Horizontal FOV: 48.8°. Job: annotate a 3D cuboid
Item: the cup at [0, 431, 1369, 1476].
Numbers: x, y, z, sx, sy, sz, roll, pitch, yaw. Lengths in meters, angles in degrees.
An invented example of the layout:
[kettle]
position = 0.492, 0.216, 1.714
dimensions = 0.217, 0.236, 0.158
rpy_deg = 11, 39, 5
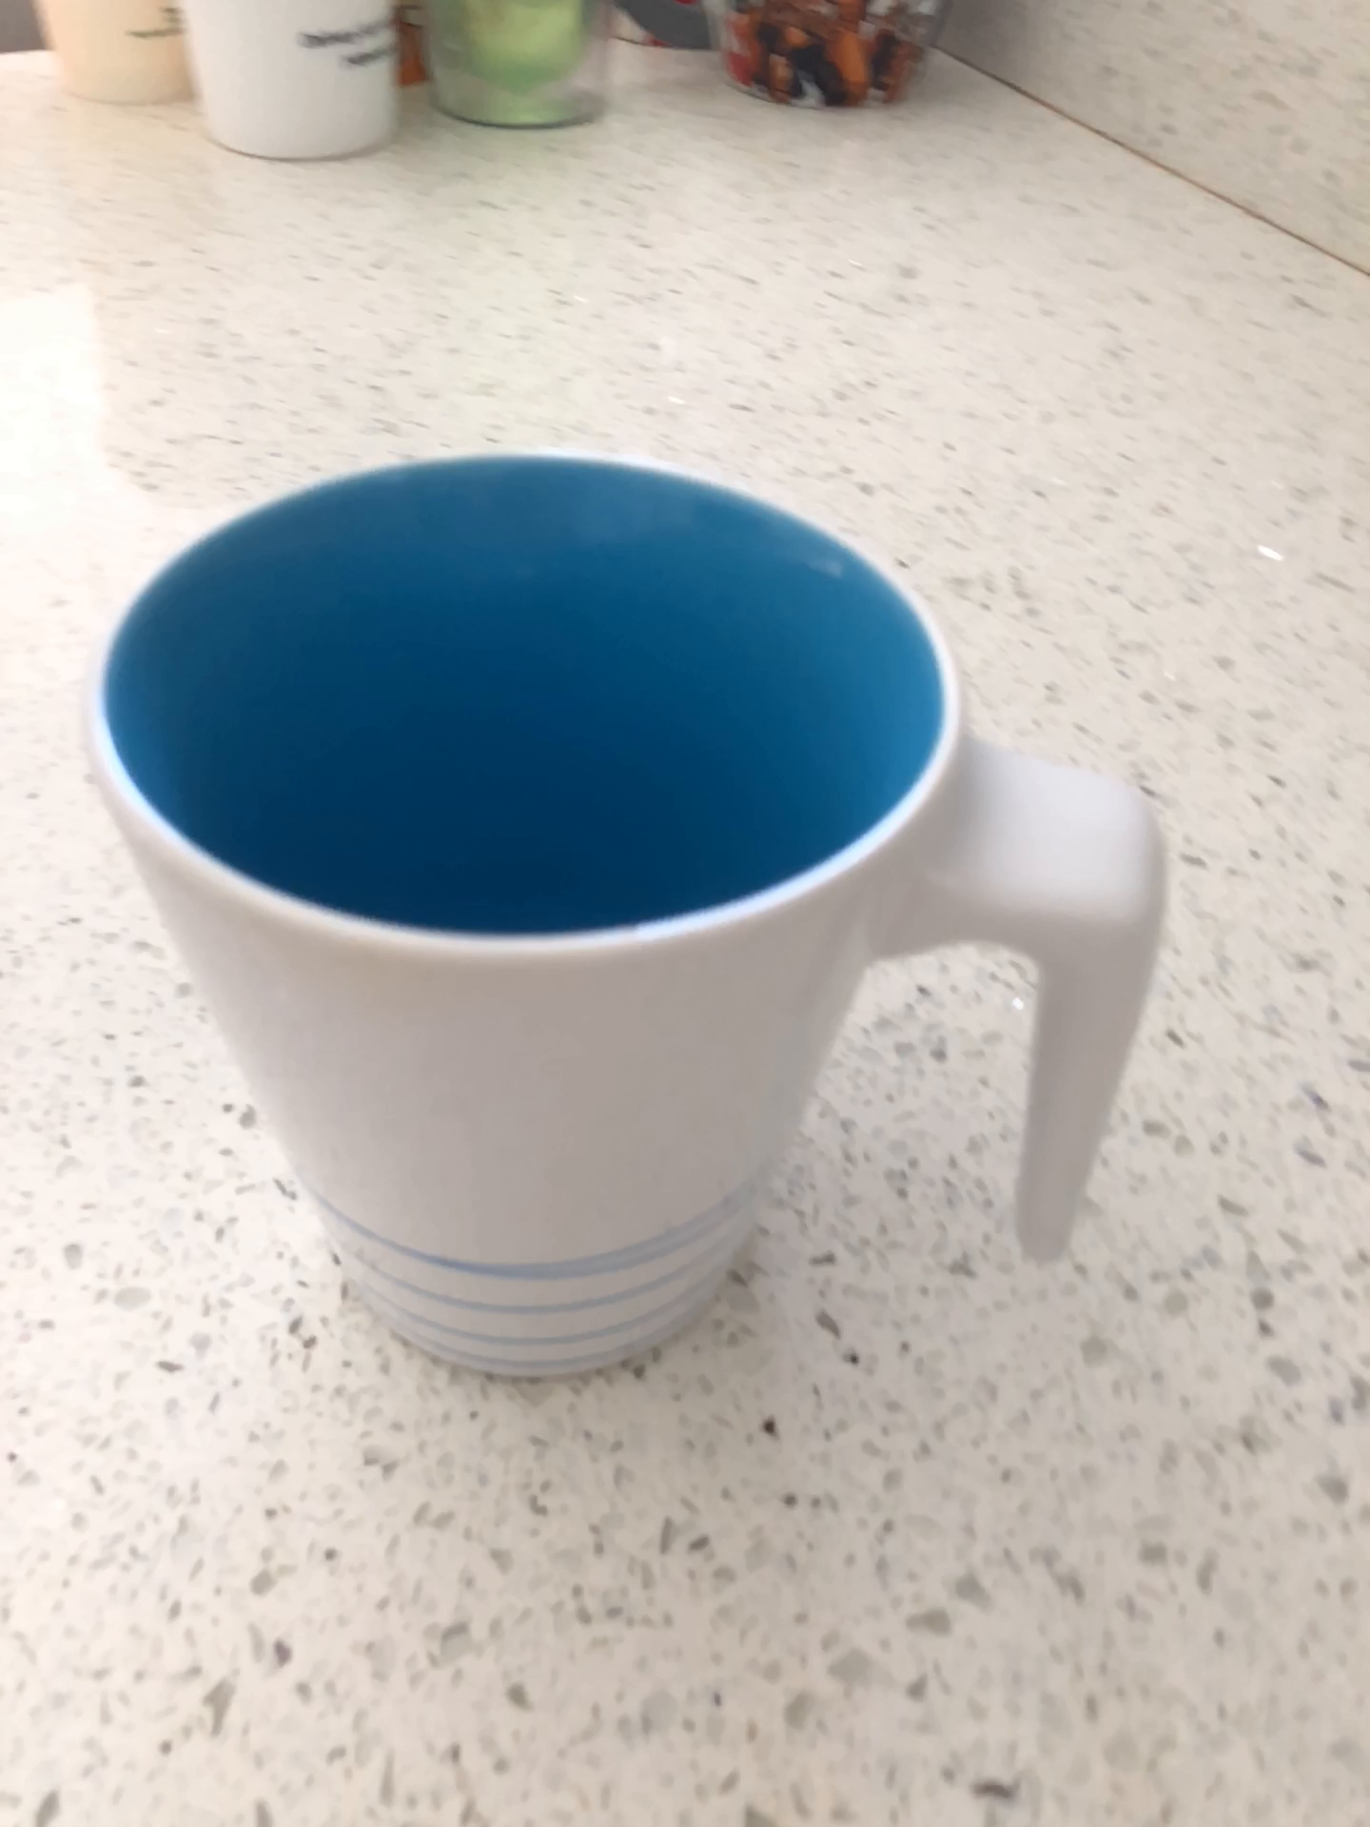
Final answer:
[cup]
position = -0.001, 0.005, 0.178
dimensions = 0.120, 0.090, 0.080
rpy_deg = 1, 42, -1
